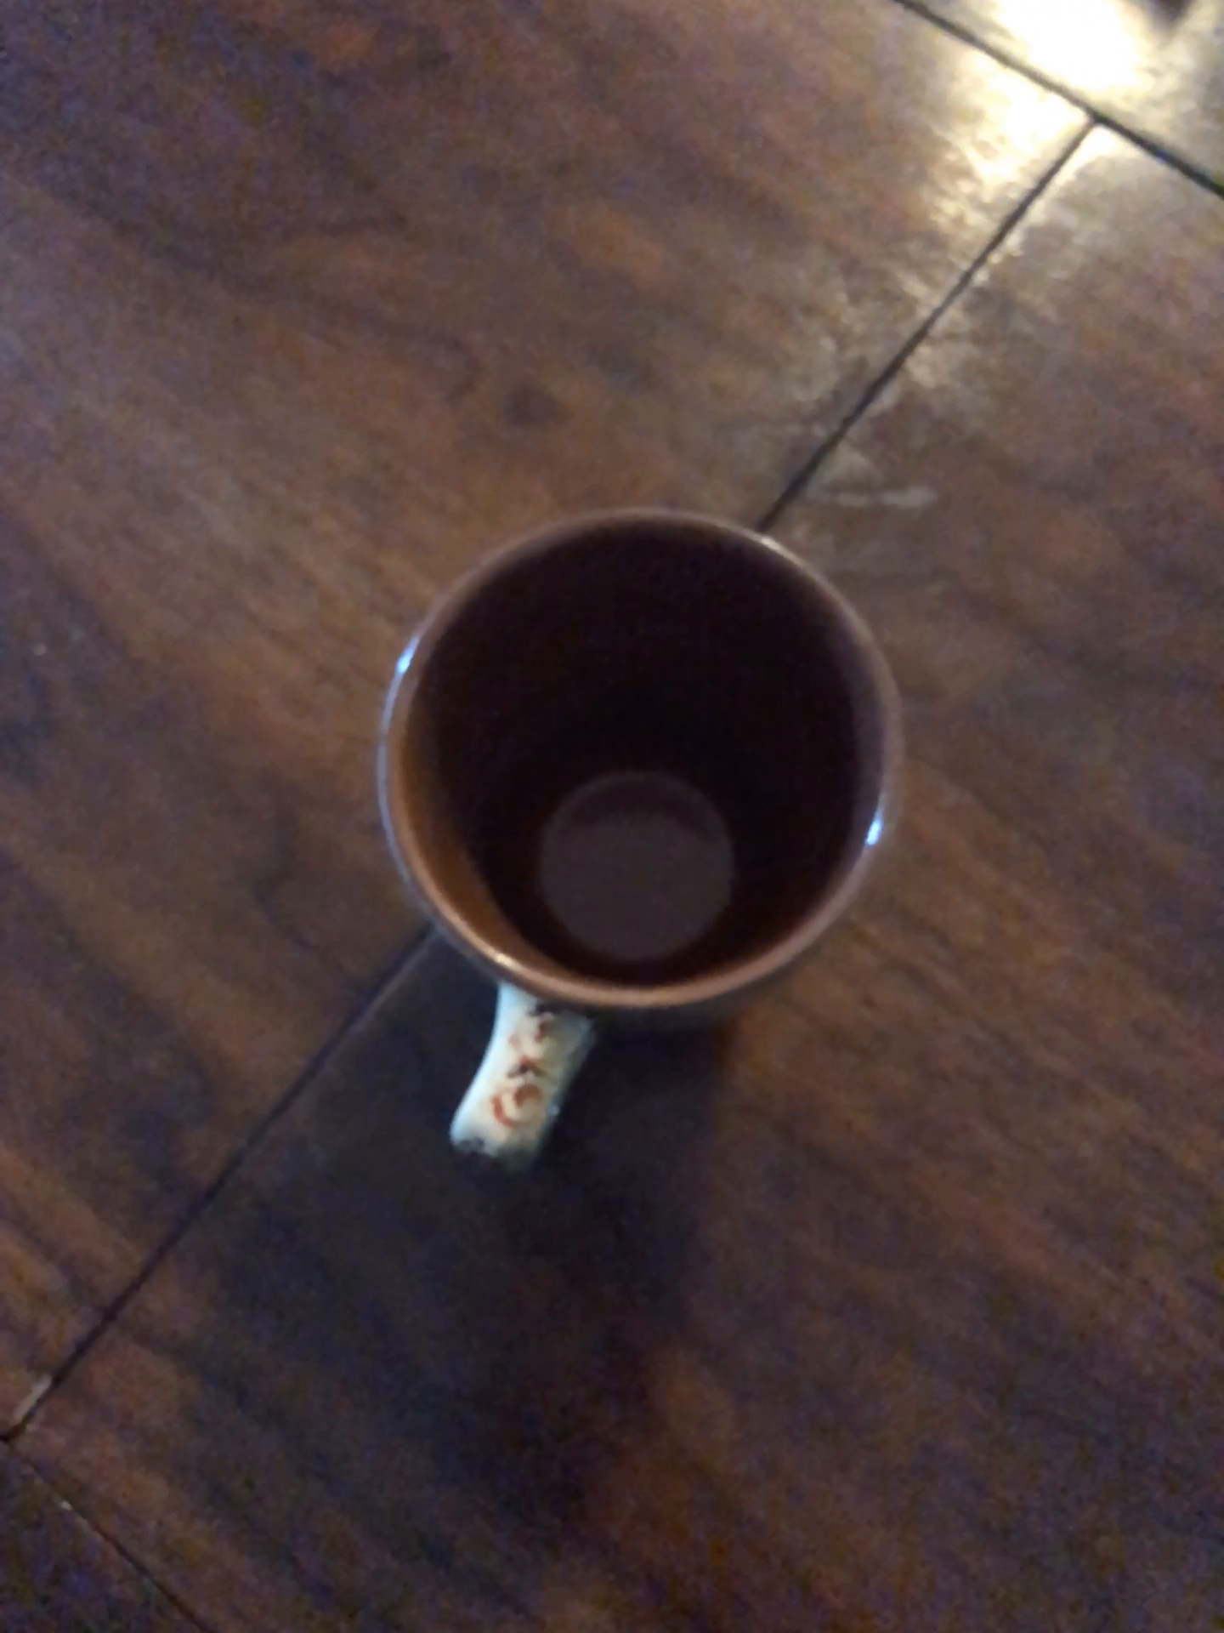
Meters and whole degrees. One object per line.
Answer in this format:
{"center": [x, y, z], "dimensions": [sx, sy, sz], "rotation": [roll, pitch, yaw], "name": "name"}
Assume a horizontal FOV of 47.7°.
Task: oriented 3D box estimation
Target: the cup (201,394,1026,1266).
{"center": [0.004, 0.010, 0.299], "dimensions": [0.100, 0.110, 0.130], "rotation": [25, 77, 8], "name": "cup"}
